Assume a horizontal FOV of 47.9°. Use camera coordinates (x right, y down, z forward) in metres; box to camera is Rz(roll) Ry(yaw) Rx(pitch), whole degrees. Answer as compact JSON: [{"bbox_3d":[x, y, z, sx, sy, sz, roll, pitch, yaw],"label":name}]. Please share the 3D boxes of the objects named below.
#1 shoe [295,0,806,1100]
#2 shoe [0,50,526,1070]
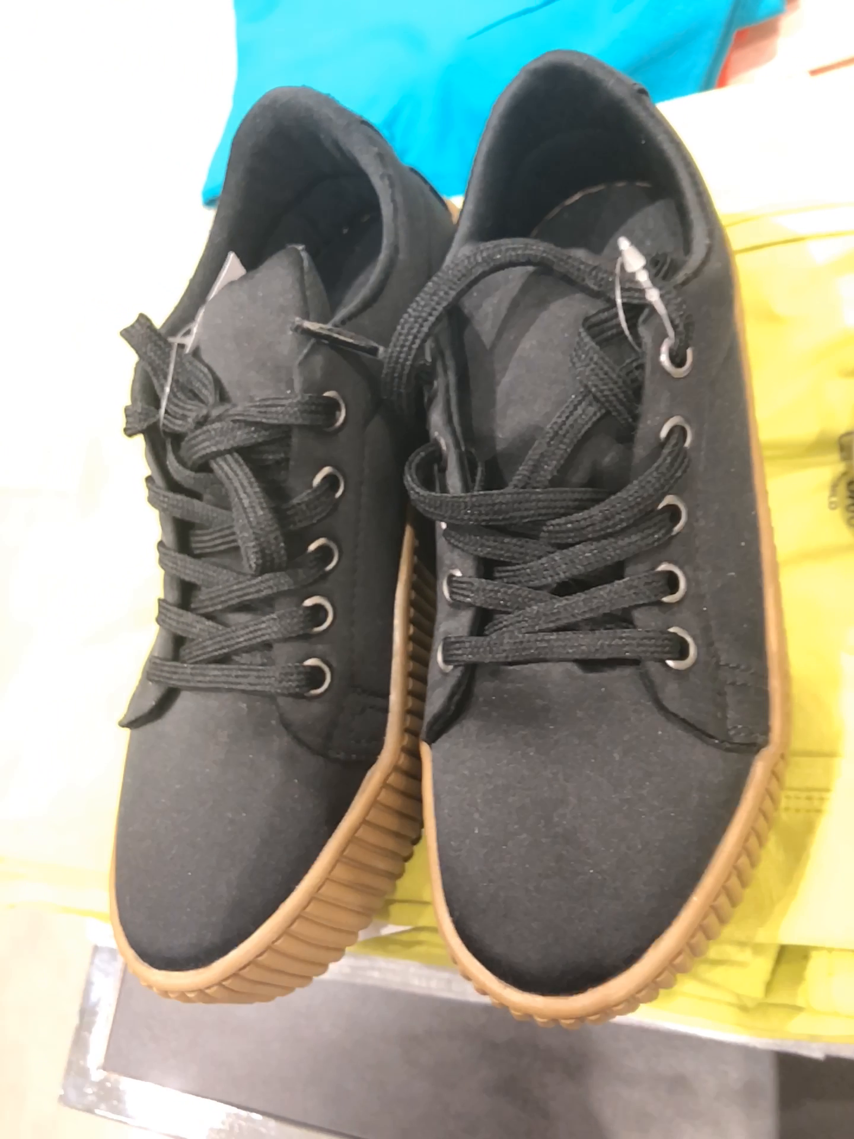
[{"bbox_3d":[0.041,-0.019,0.236,0.090,0.080,0.240,-1,73,20],"label":"shoe"},{"bbox_3d":[-0.041,-0.009,0.258,0.090,0.080,0.230,3,74,21],"label":"shoe"}]
